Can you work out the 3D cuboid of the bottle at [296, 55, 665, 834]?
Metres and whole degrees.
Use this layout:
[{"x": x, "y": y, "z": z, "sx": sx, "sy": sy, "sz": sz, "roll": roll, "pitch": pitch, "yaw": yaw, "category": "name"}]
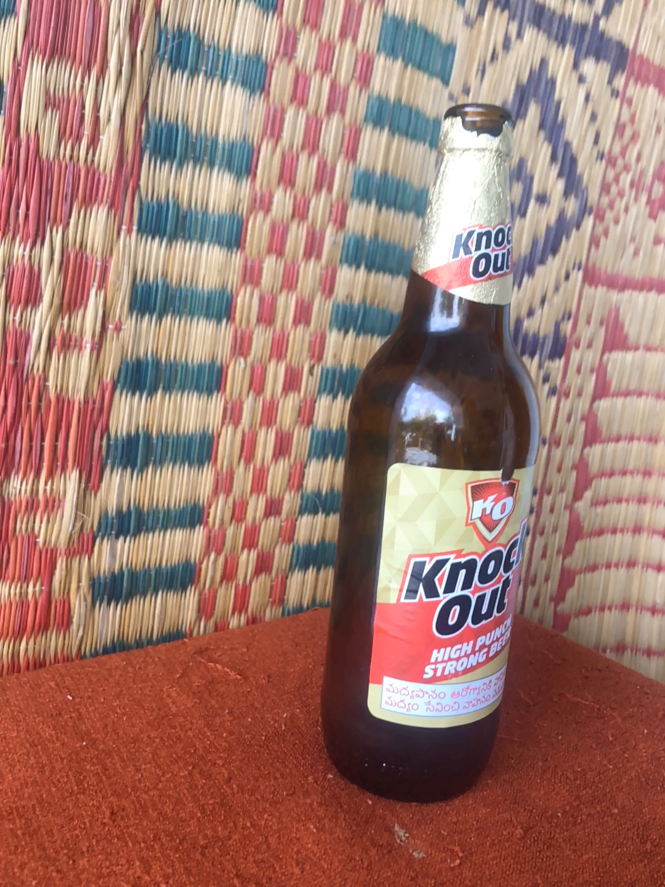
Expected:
[{"x": 0.050, "y": 0.004, "z": 0.278, "sx": 0.070, "sy": 0.249, "sz": 0.070, "roll": 8, "pitch": 11, "yaw": -2, "category": "bottle"}]
